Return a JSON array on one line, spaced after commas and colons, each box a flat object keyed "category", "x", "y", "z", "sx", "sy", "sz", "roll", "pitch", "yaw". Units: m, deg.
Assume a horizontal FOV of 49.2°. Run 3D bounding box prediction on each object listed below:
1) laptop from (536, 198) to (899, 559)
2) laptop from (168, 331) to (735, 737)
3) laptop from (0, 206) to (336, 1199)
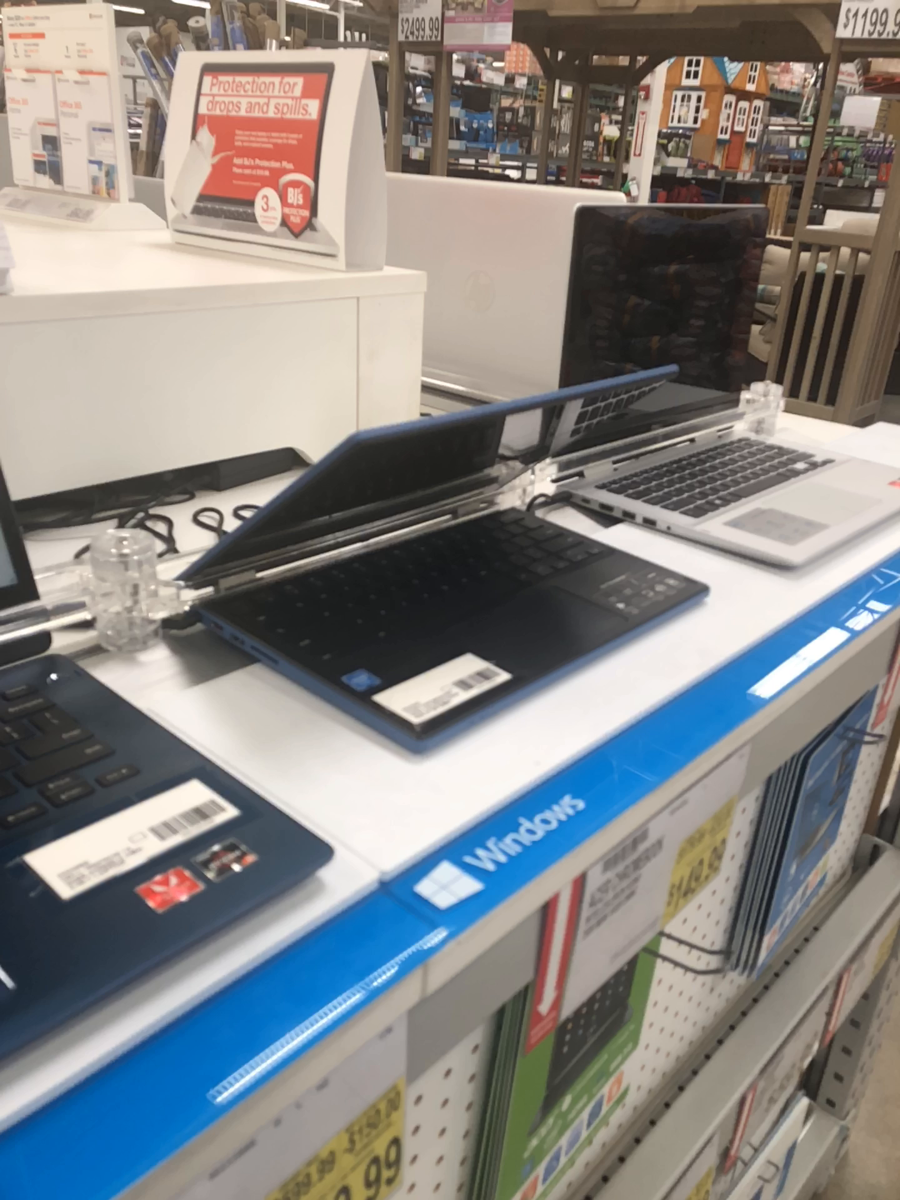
[{"category": "laptop", "x": 0.259, "y": -0.207, "z": 0.828, "sx": 0.221, "sy": 0.211, "sz": 0.296, "roll": 26, "pitch": 32, "yaw": 37}, {"category": "laptop", "x": 0.010, "y": -0.065, "z": 0.583, "sx": 0.186, "sy": 0.128, "sz": 0.280, "roll": 24, "pitch": 31, "yaw": 34}, {"category": "laptop", "x": -0.269, "y": -0.001, "z": 0.312, "sx": 0.319, "sy": 0.196, "sz": 0.326, "roll": 23, "pitch": 30, "yaw": 35}]
